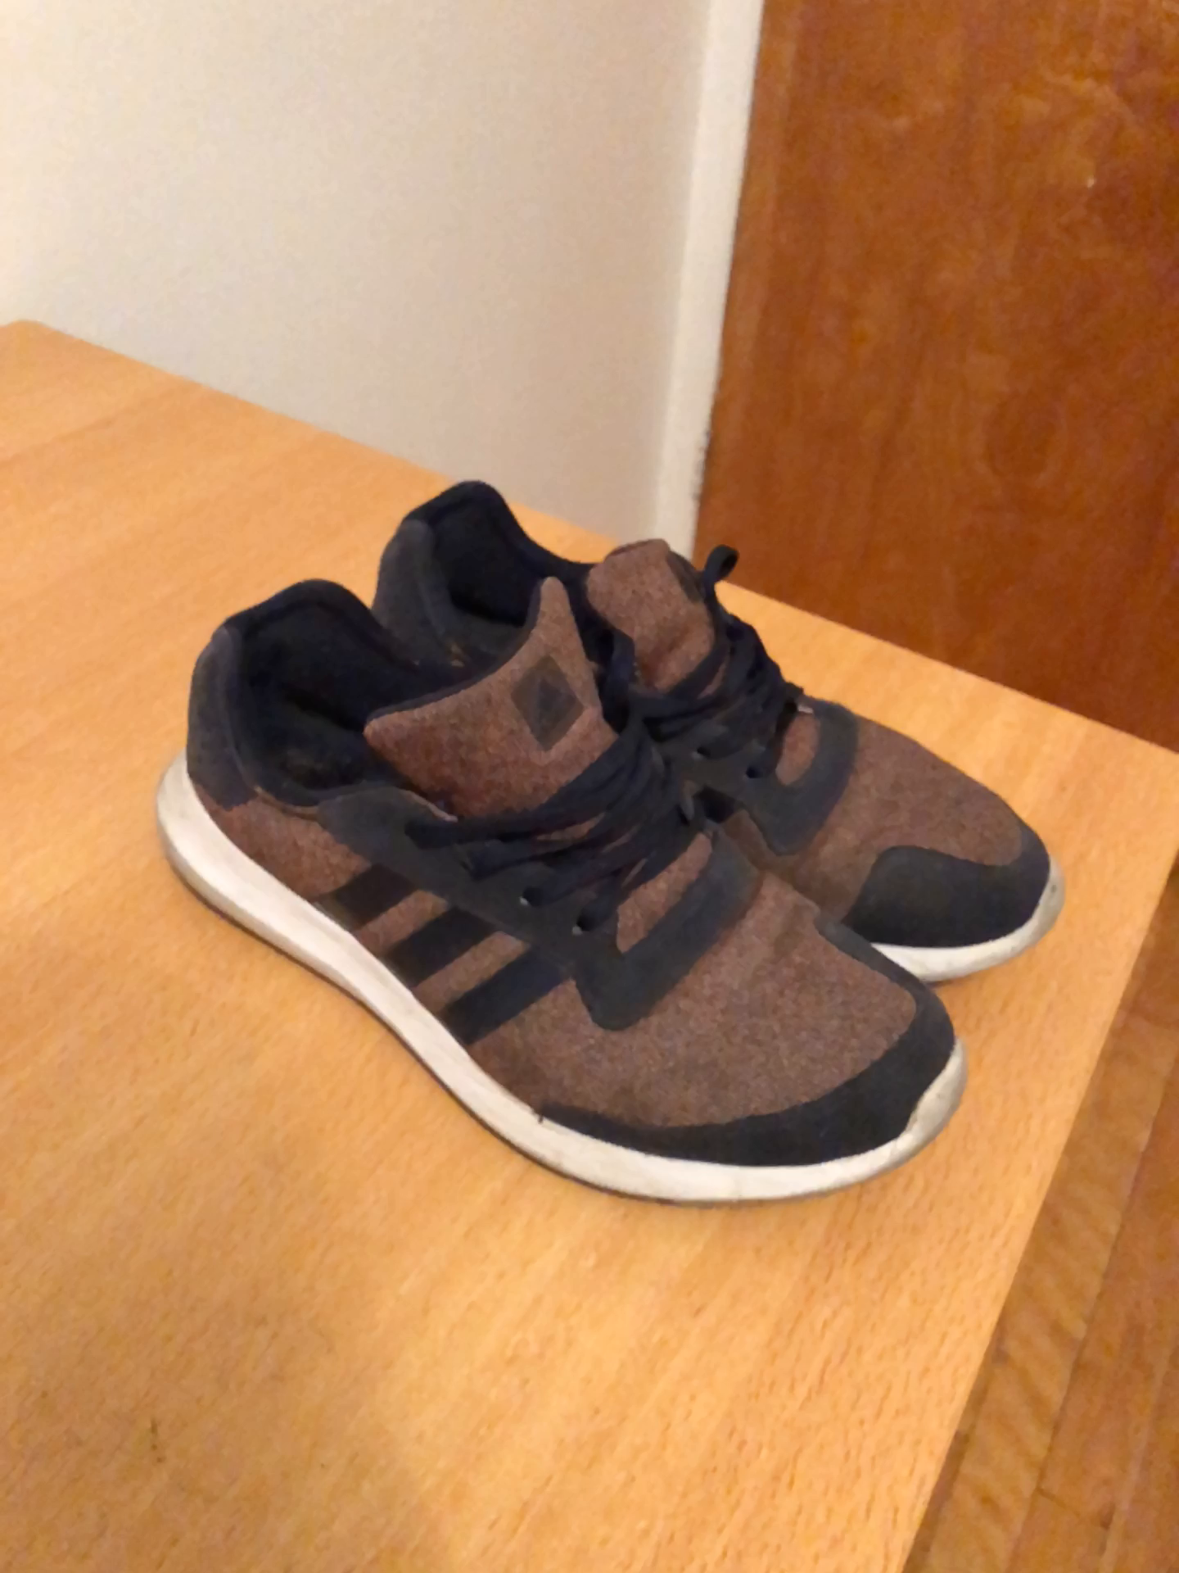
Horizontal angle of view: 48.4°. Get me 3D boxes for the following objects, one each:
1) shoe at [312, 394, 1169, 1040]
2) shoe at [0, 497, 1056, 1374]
[{"bbox_3d":[0.047,-0.040,0.473,0.260,0.099,0.131,23,41,20],"label":"shoe"},{"bbox_3d":[-0.033,0.023,0.397,0.291,0.099,0.131,23,41,20],"label":"shoe"}]
